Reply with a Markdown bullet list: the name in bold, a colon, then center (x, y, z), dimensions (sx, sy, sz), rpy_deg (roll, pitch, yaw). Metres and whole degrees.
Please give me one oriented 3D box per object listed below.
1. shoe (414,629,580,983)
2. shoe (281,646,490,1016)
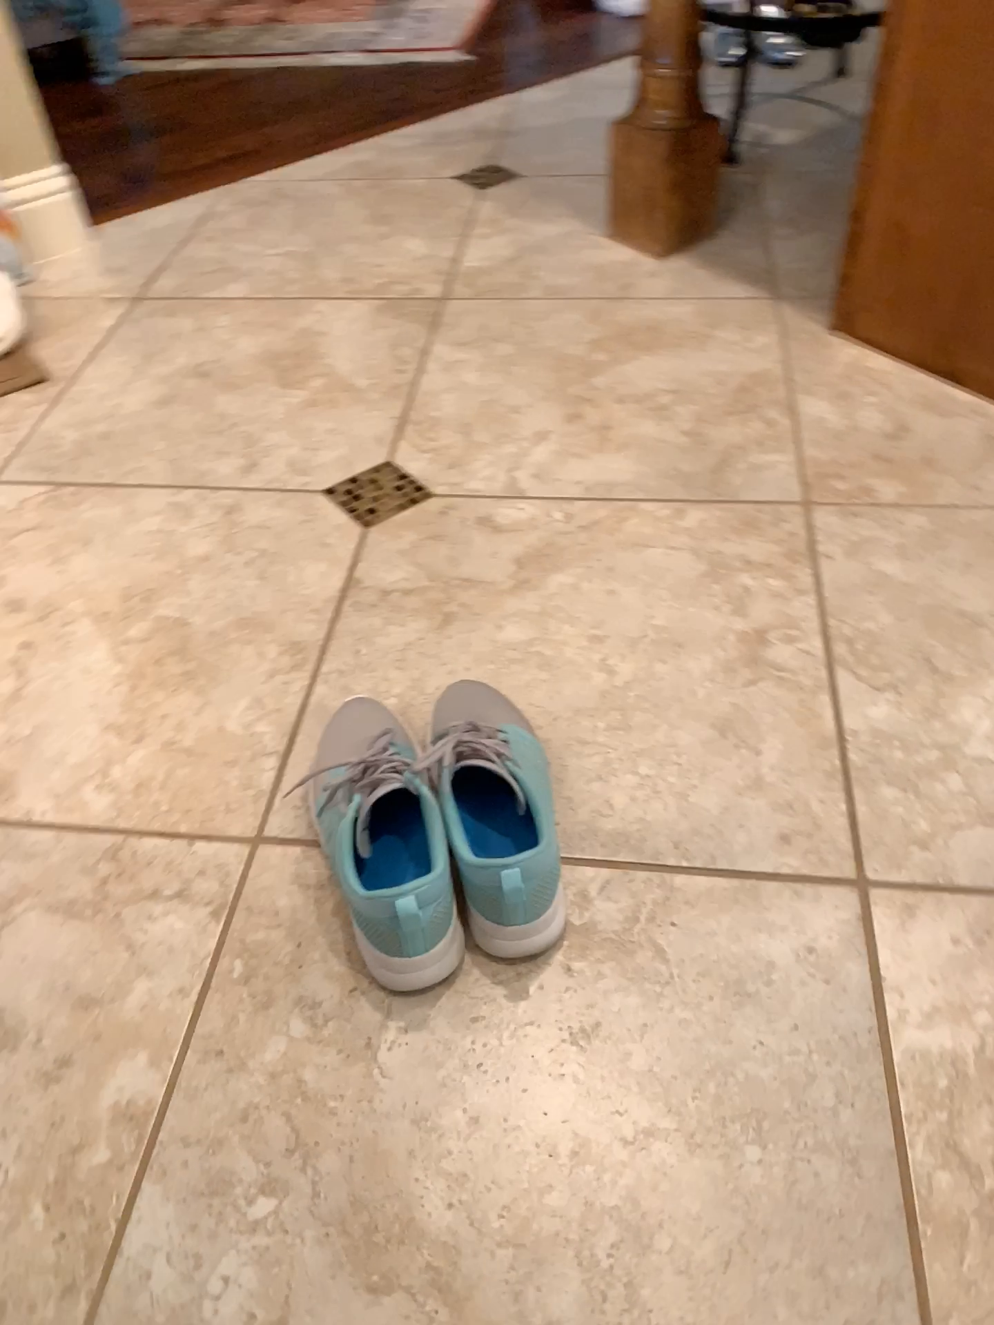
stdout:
- **shoe**: center (-0.005, 0.109, 0.845), dimensions (0.106, 0.108, 0.272), rpy_deg (-6, 44, -1)
- **shoe**: center (-0.097, 0.126, 0.832), dimensions (0.106, 0.108, 0.272), rpy_deg (-14, 45, -9)
